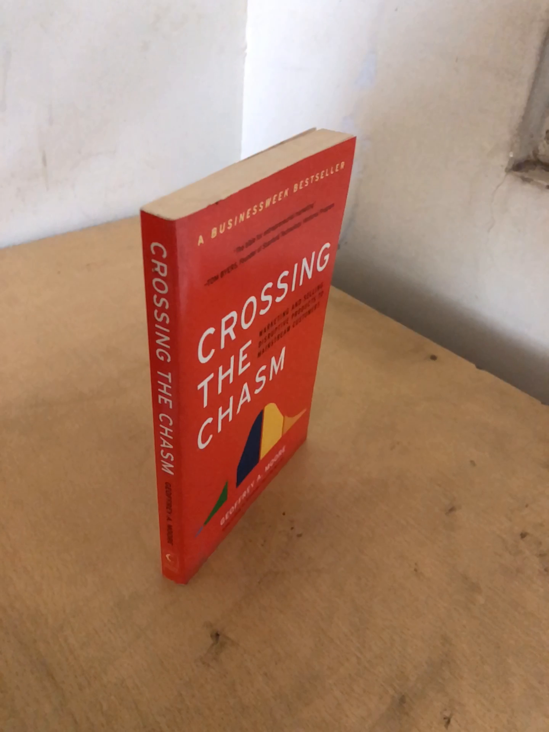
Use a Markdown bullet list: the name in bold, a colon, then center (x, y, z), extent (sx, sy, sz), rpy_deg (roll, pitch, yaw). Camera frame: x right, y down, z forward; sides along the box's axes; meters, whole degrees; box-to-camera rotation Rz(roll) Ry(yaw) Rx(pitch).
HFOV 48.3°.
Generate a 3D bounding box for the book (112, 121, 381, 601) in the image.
- **book**: center (-0.007, -0.005, 0.316), extent (0.030, 0.199, 0.161), rpy_deg (22, 39, 23)
